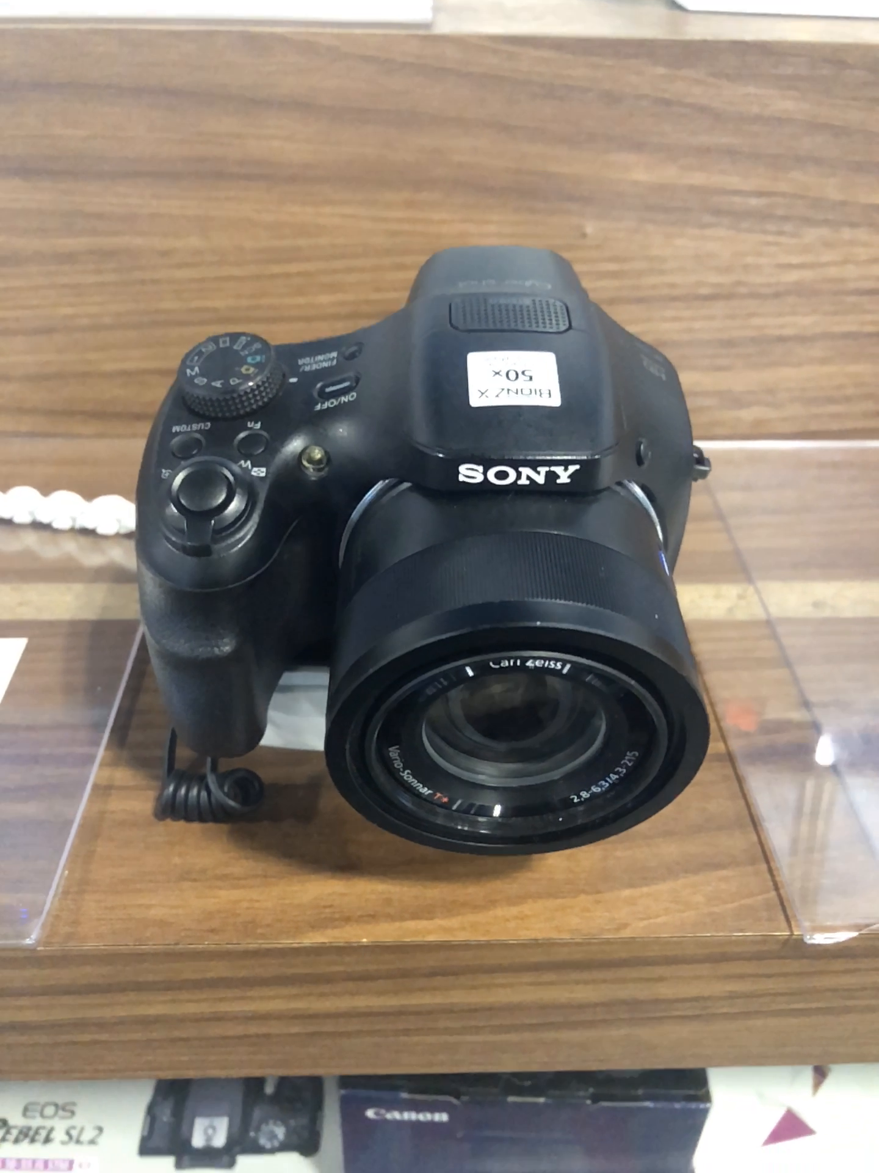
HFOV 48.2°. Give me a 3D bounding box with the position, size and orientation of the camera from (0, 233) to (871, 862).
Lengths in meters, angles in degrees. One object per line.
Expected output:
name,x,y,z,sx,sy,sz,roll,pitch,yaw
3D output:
camera,-0.003,-0.014,0.207,0.125,0.084,0.110,0,36,-1
